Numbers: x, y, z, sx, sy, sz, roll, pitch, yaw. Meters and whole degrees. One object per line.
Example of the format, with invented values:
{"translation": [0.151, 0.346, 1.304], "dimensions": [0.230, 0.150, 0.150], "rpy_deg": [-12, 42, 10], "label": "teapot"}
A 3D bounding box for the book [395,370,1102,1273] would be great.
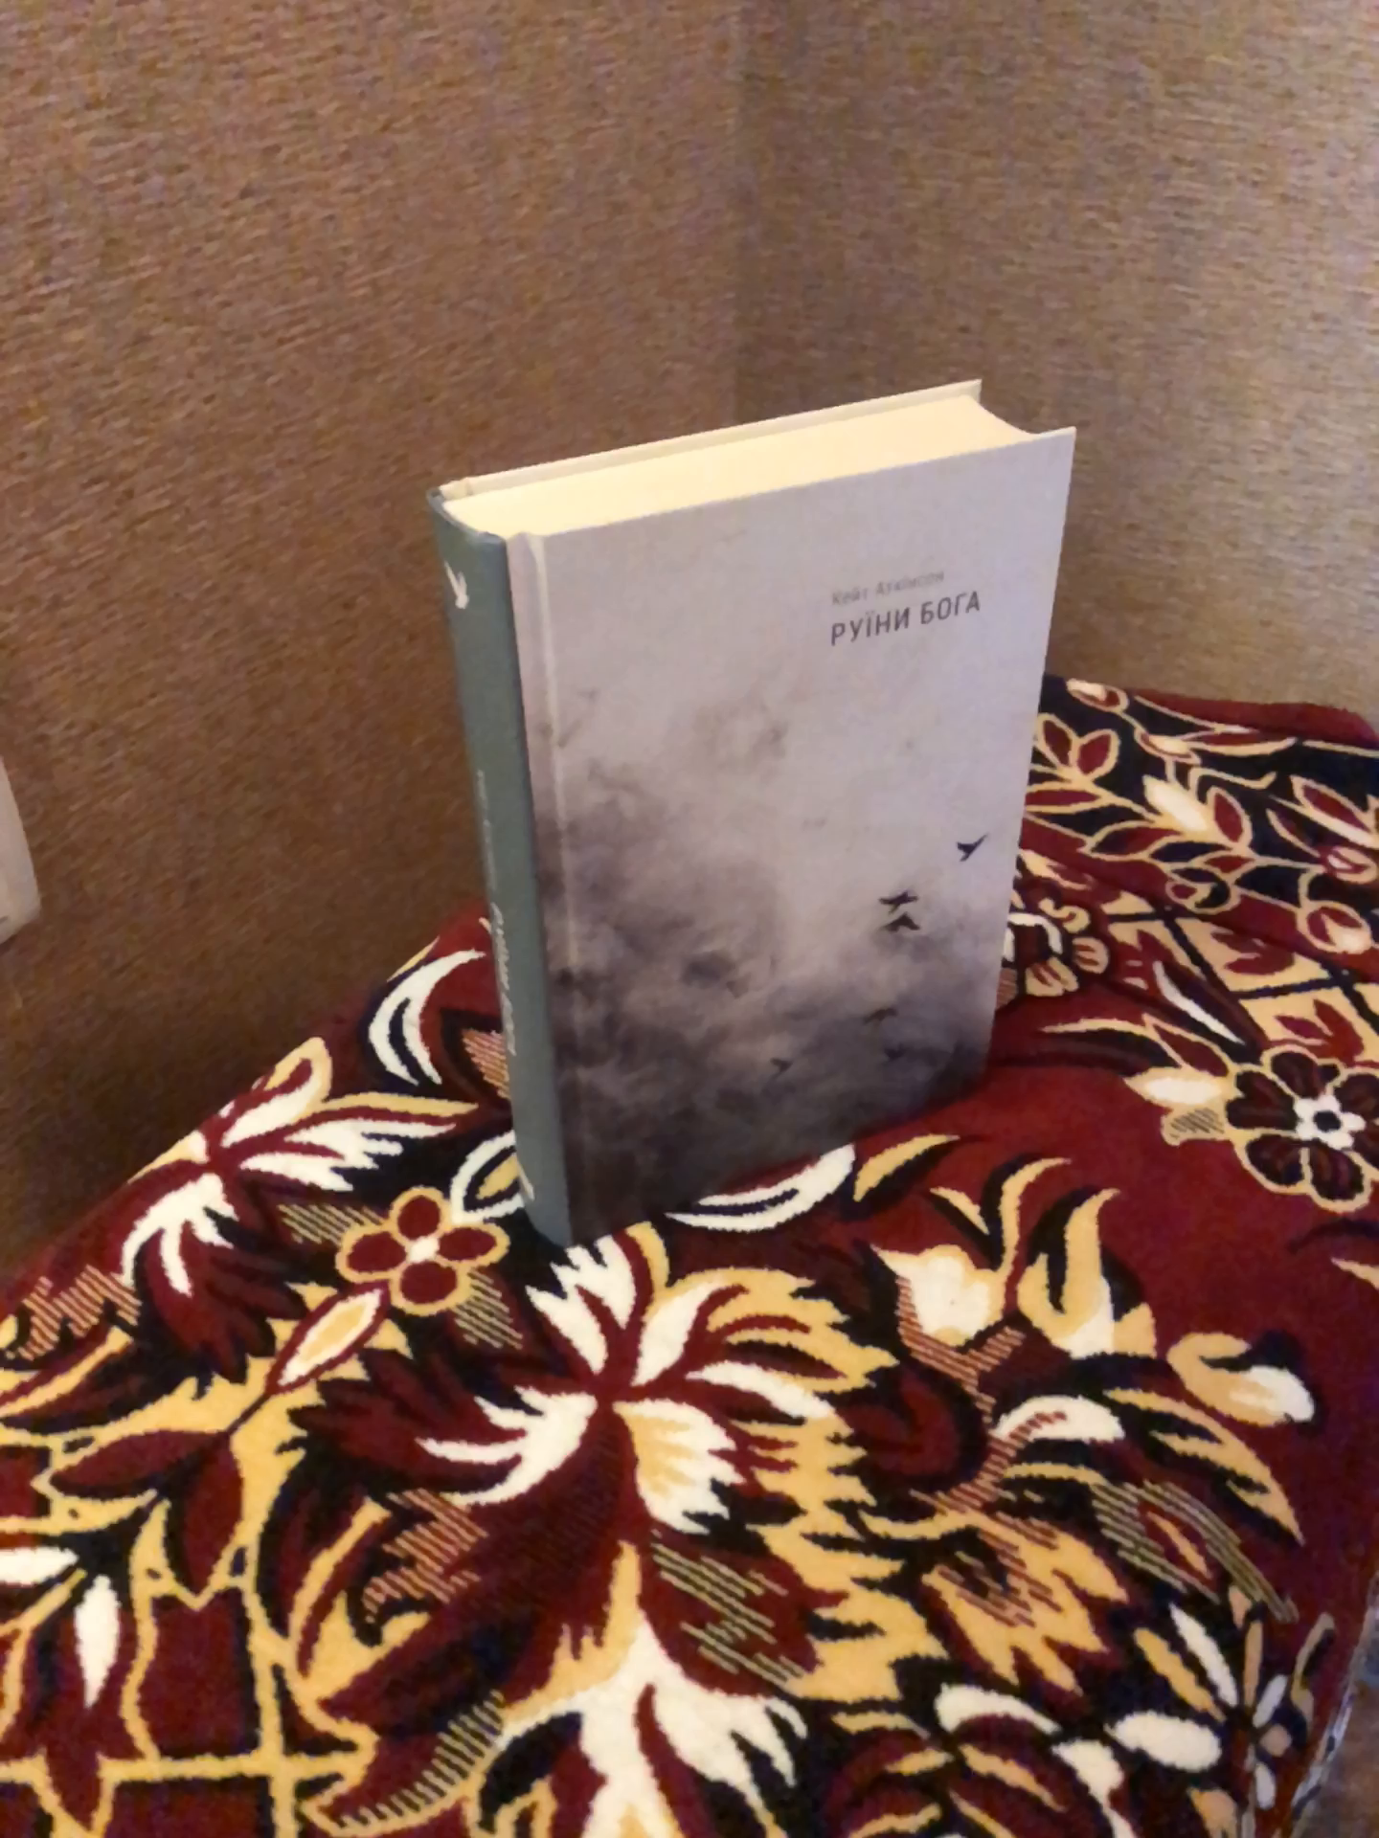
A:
{"translation": [0.014, -0.020, 0.381], "dimensions": [0.145, 0.200, 0.048], "rpy_deg": [-17, 41, -22], "label": "book"}
